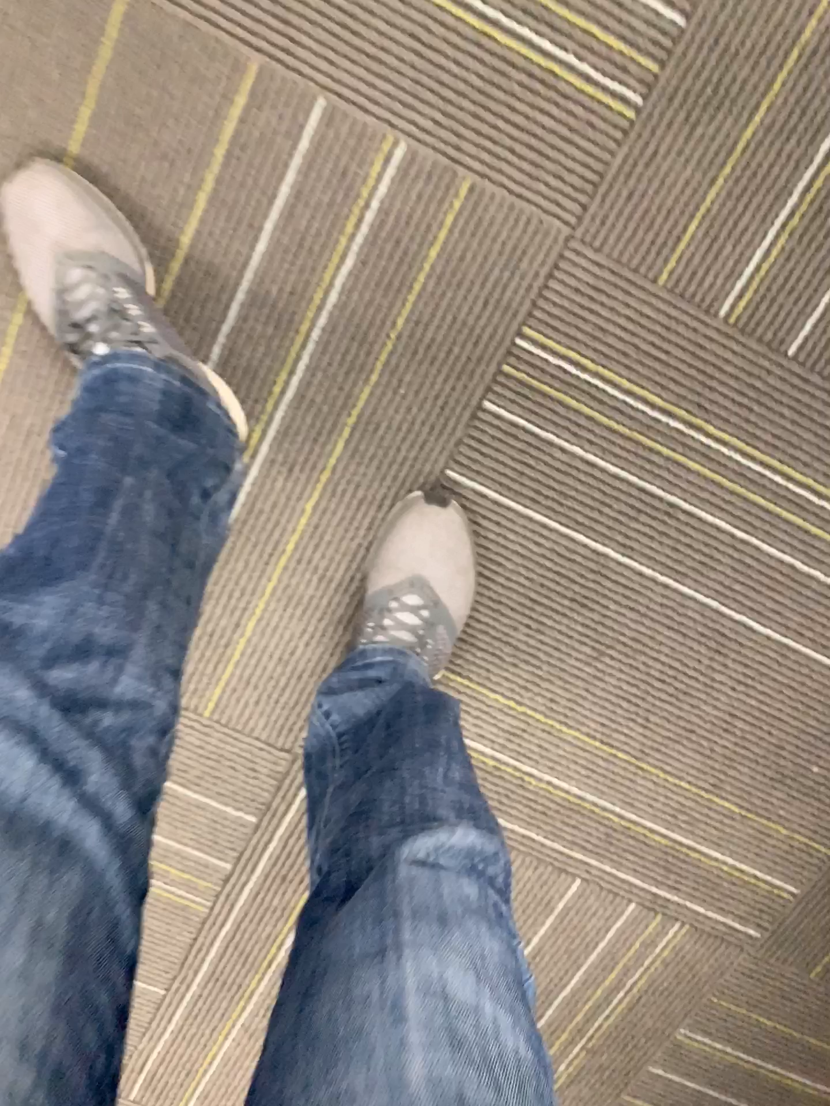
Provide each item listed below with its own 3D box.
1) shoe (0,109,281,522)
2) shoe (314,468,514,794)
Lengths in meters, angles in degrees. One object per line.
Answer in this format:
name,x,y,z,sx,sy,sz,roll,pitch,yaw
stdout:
shoe,-0.273,-0.200,0.759,0.131,0.093,0.313,-31,107,13
shoe,-0.005,0.082,0.872,0.128,0.093,0.300,13,111,-3
